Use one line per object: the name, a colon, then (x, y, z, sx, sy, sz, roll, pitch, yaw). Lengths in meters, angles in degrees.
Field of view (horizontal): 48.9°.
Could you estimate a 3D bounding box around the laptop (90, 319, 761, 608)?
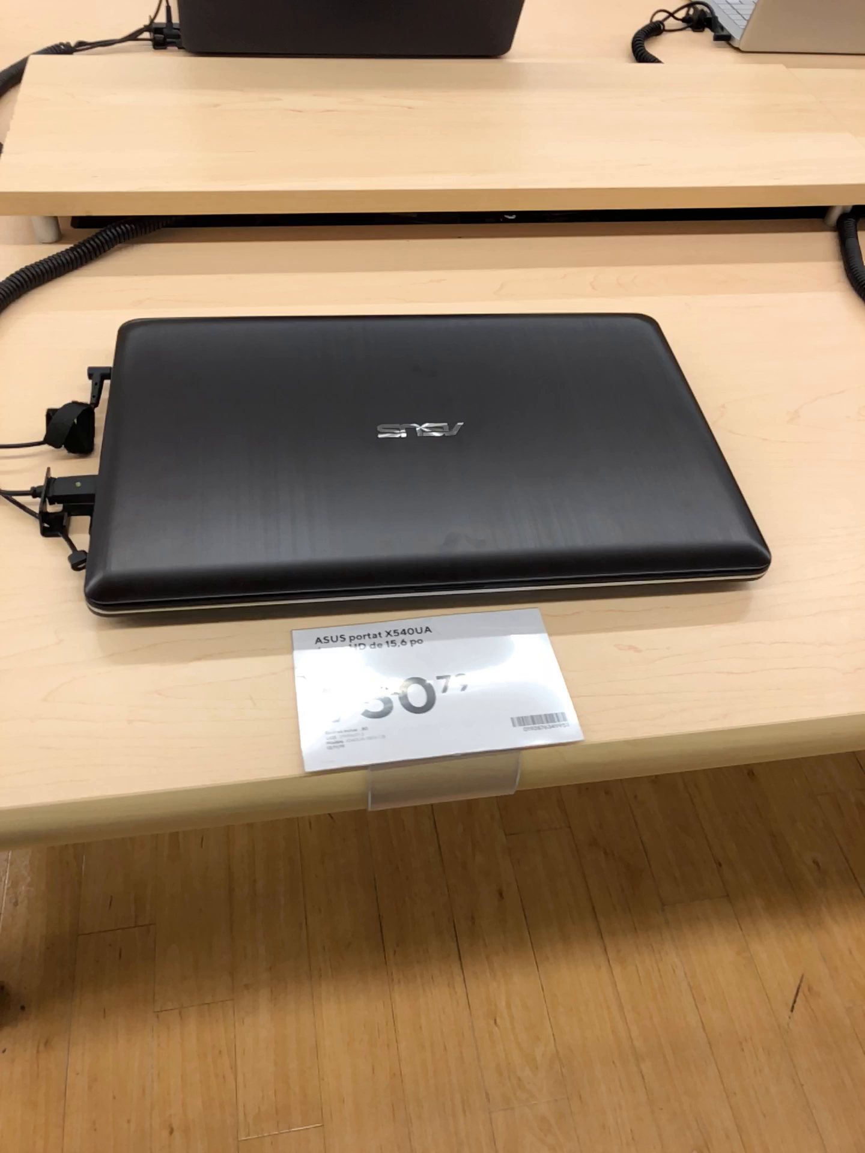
laptop: (-0.008, -0.085, 0.591, 0.369, 0.010, 0.228, -3, 51, -9)
